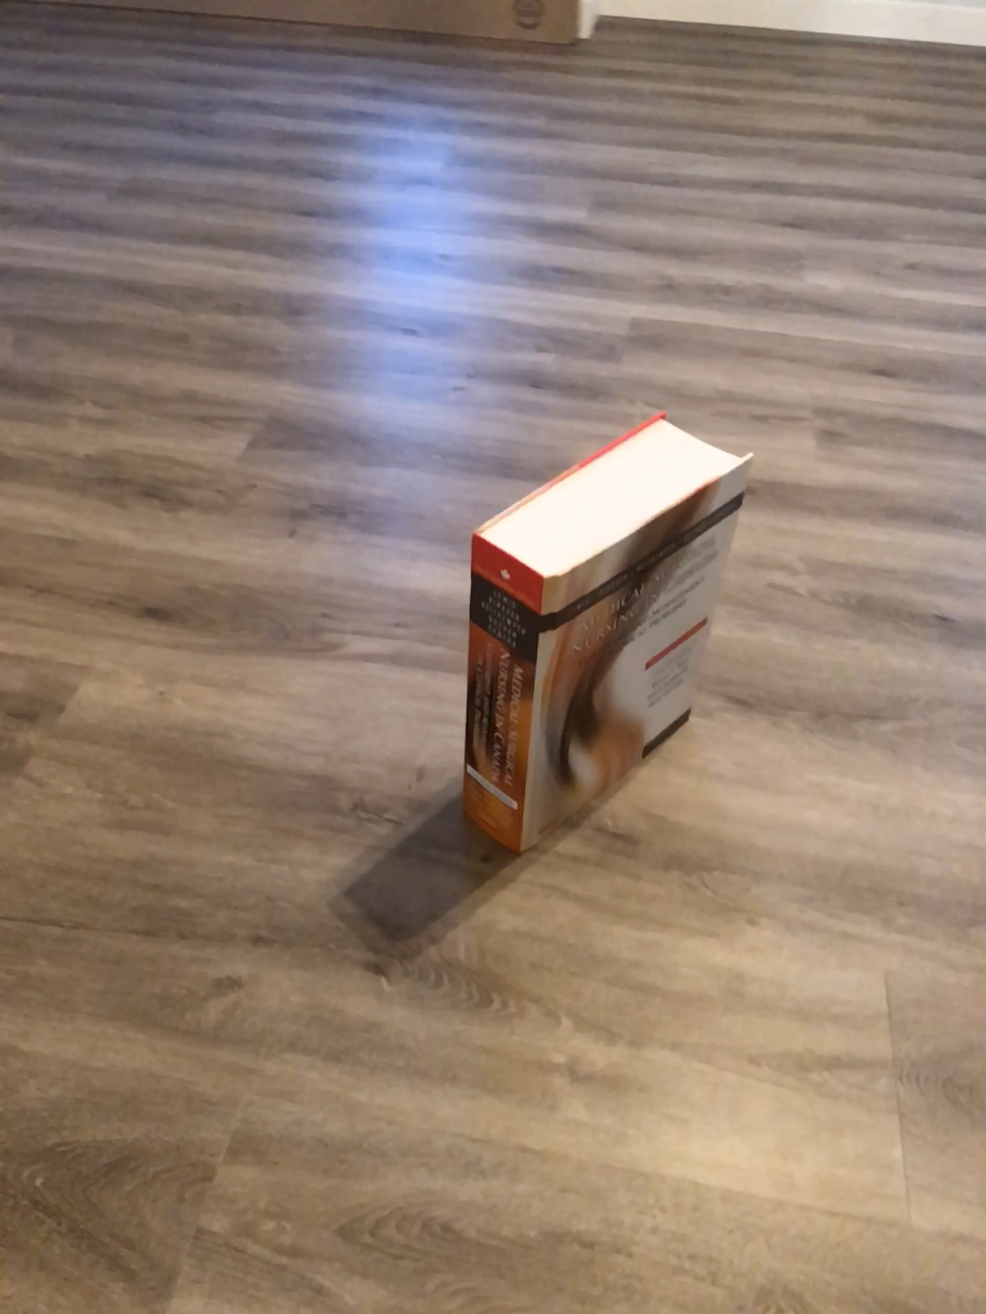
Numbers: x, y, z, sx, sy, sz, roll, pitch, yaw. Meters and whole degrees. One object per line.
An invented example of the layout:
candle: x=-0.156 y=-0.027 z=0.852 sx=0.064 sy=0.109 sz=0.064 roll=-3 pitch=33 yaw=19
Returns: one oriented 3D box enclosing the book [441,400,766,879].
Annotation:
book: x=0.078 y=-0.012 z=0.839 sx=0.087 sy=0.290 sz=0.240 roll=33 pitch=50 yaw=29
